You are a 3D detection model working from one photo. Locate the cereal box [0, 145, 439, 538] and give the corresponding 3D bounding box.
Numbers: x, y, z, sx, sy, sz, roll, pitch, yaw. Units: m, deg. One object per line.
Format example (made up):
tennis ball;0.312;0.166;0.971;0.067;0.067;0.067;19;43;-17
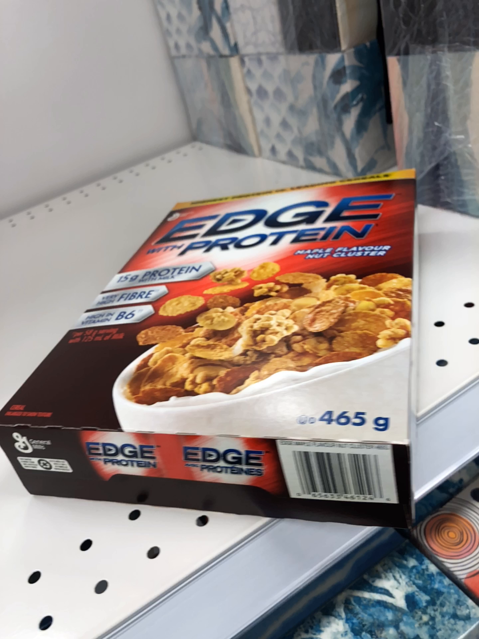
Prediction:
cereal box;-0.003;-0.017;0.320;0.220;0.050;0.271;-3;34;21
